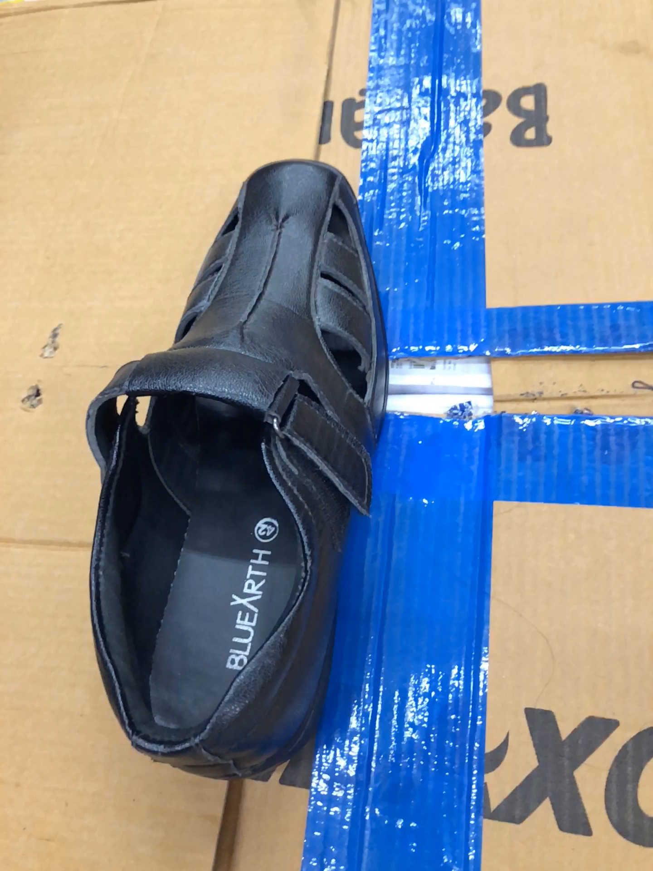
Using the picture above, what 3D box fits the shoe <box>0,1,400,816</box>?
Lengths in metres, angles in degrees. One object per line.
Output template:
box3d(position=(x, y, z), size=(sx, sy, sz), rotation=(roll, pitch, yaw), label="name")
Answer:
box3d(position=(-0.029, -0.023, 0.298), size=(0.100, 0.097, 0.304), rotation=(0, 66, 11), label="shoe")
